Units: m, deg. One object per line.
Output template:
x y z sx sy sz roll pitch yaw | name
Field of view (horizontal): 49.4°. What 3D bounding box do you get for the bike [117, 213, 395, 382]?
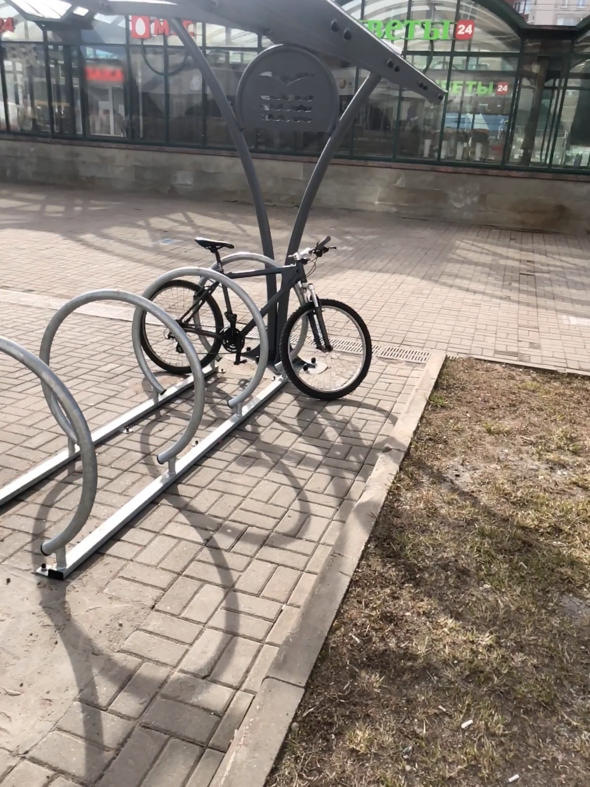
-0.248 -0.676 4.386 1.610 0.980 0.564 5 21 8 | bike
